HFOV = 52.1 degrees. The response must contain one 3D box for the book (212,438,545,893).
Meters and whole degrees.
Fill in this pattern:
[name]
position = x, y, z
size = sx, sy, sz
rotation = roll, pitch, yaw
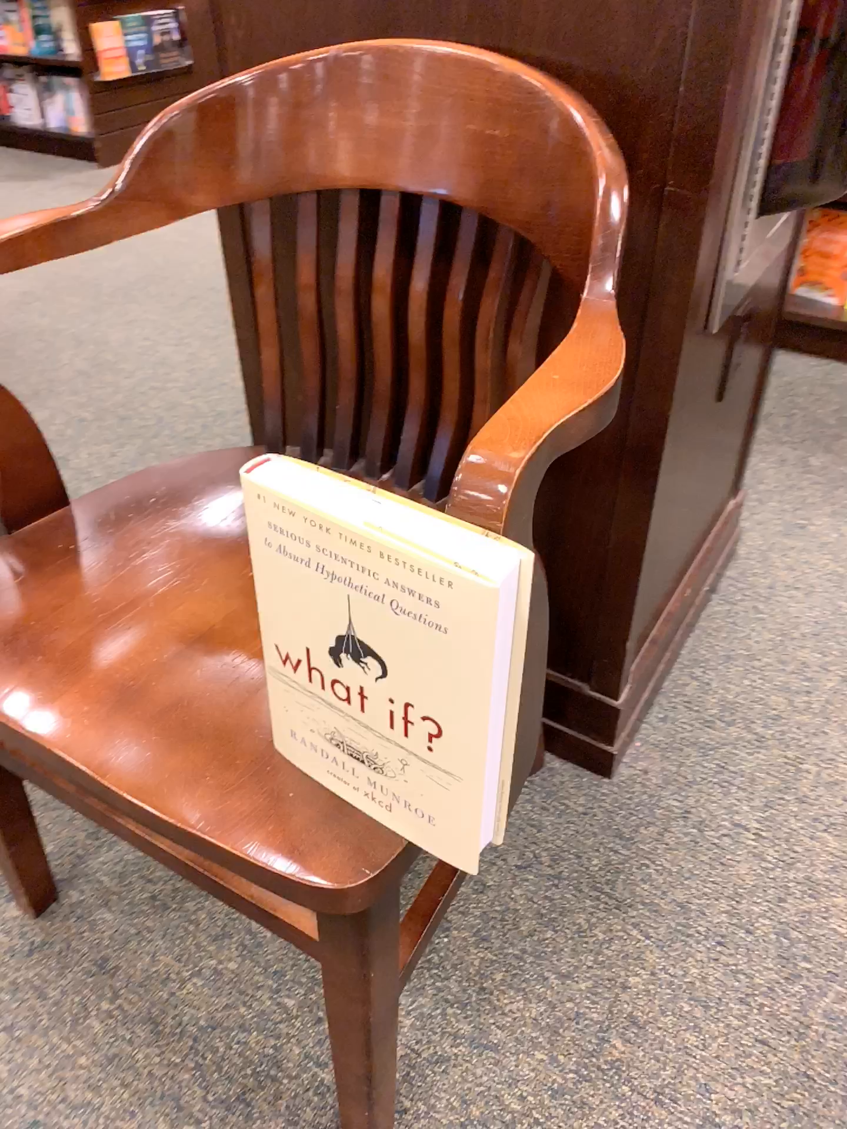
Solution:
[book]
position = -0.031, 0.065, 0.536
size = 0.188, 0.239, 0.050
rotation = 23, 41, 28
